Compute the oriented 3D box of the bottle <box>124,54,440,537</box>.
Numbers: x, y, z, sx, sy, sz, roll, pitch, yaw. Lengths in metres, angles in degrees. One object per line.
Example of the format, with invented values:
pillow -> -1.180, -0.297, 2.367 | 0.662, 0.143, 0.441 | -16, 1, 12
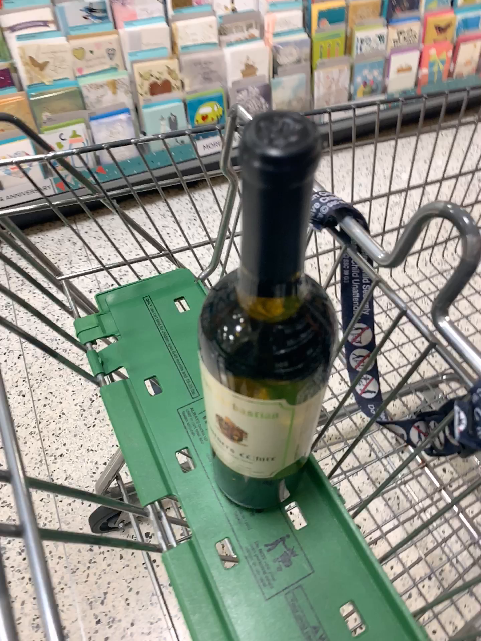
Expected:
bottle -> 0.014, 0.029, 0.285 | 0.080, 0.307, 0.070 | 29, 57, 20
